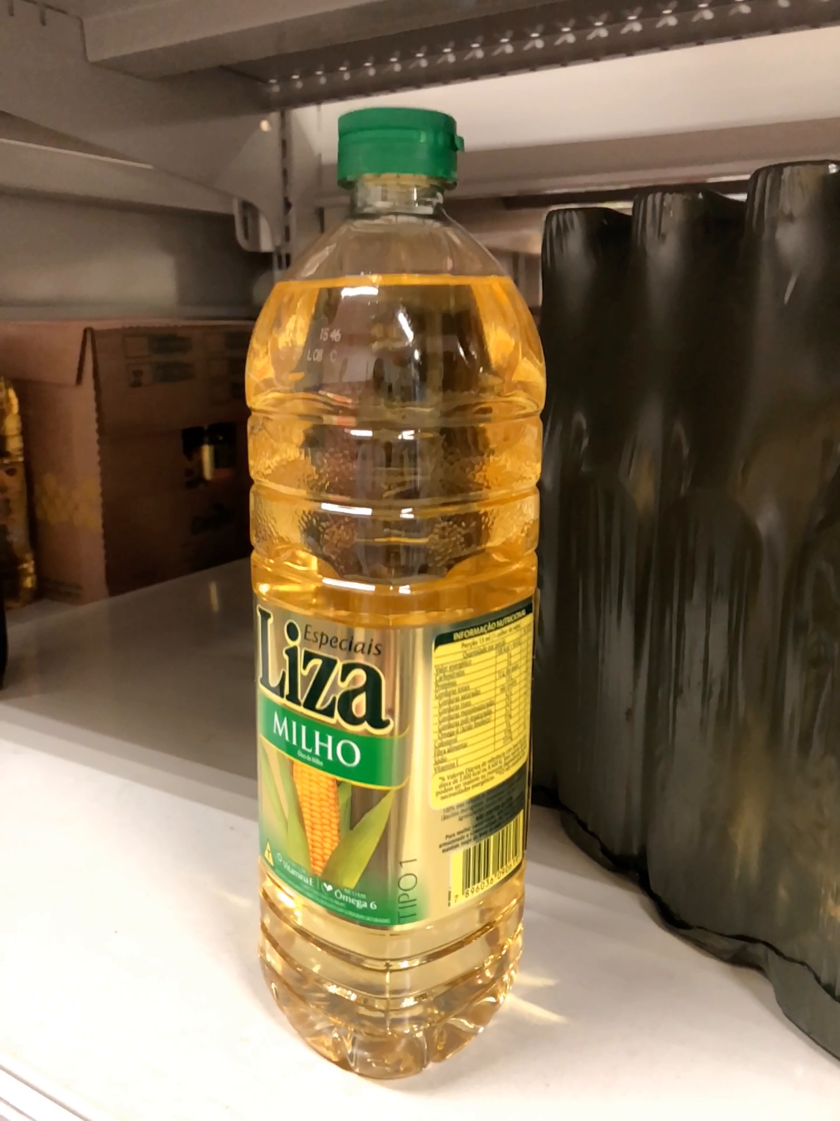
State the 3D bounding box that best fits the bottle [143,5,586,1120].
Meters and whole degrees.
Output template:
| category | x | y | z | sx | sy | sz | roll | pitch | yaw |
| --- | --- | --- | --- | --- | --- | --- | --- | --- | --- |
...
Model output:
| category | x | y | z | sx | sy | sz | roll | pitch | yaw |
| --- | --- | --- | --- | --- | --- | --- | --- | --- | --- |
| bottle | -0.010 | 0.006 | 0.252 | 0.080 | 0.249 | 0.070 | 10 | 17 | 40 |
